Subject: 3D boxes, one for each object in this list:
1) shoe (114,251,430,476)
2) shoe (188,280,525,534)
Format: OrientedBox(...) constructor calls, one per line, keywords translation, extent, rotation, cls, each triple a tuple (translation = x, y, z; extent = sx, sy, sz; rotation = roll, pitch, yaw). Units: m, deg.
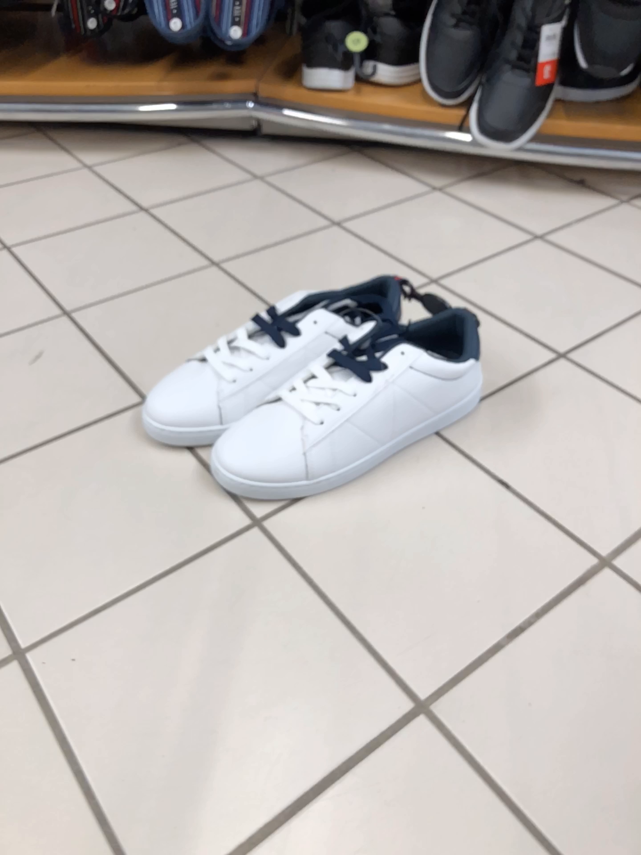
OrientedBox(translation=(-0.039, -0.073, 0.709), extent=(0.291, 0.099, 0.100), rotation=(-24, 47, -26), cls="shoe")
OrientedBox(translation=(0.038, -0.030, 0.650), extent=(0.291, 0.099, 0.100), rotation=(-24, 47, -26), cls="shoe")
